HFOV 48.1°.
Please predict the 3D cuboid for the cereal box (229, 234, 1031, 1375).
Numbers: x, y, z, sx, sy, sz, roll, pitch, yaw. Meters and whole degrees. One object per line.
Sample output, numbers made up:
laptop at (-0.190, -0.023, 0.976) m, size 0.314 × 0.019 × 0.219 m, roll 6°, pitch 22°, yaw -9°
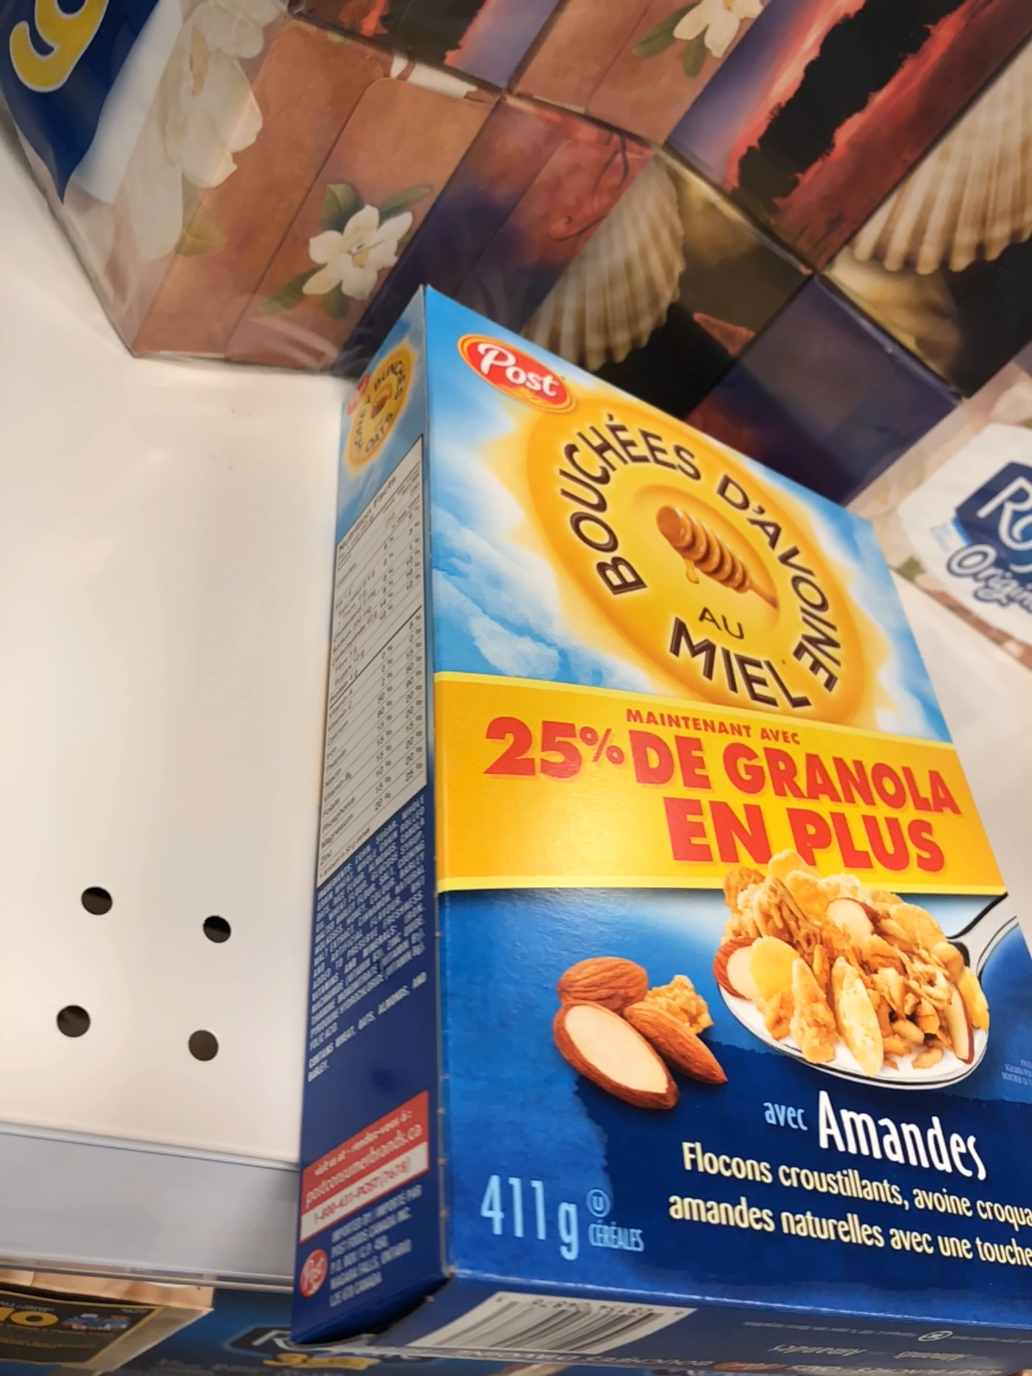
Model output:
cereal box at (0.047, 0.023, 0.306) m, size 0.211 × 0.050 × 0.270 m, roll 21°, pitch 44°, yaw -28°
